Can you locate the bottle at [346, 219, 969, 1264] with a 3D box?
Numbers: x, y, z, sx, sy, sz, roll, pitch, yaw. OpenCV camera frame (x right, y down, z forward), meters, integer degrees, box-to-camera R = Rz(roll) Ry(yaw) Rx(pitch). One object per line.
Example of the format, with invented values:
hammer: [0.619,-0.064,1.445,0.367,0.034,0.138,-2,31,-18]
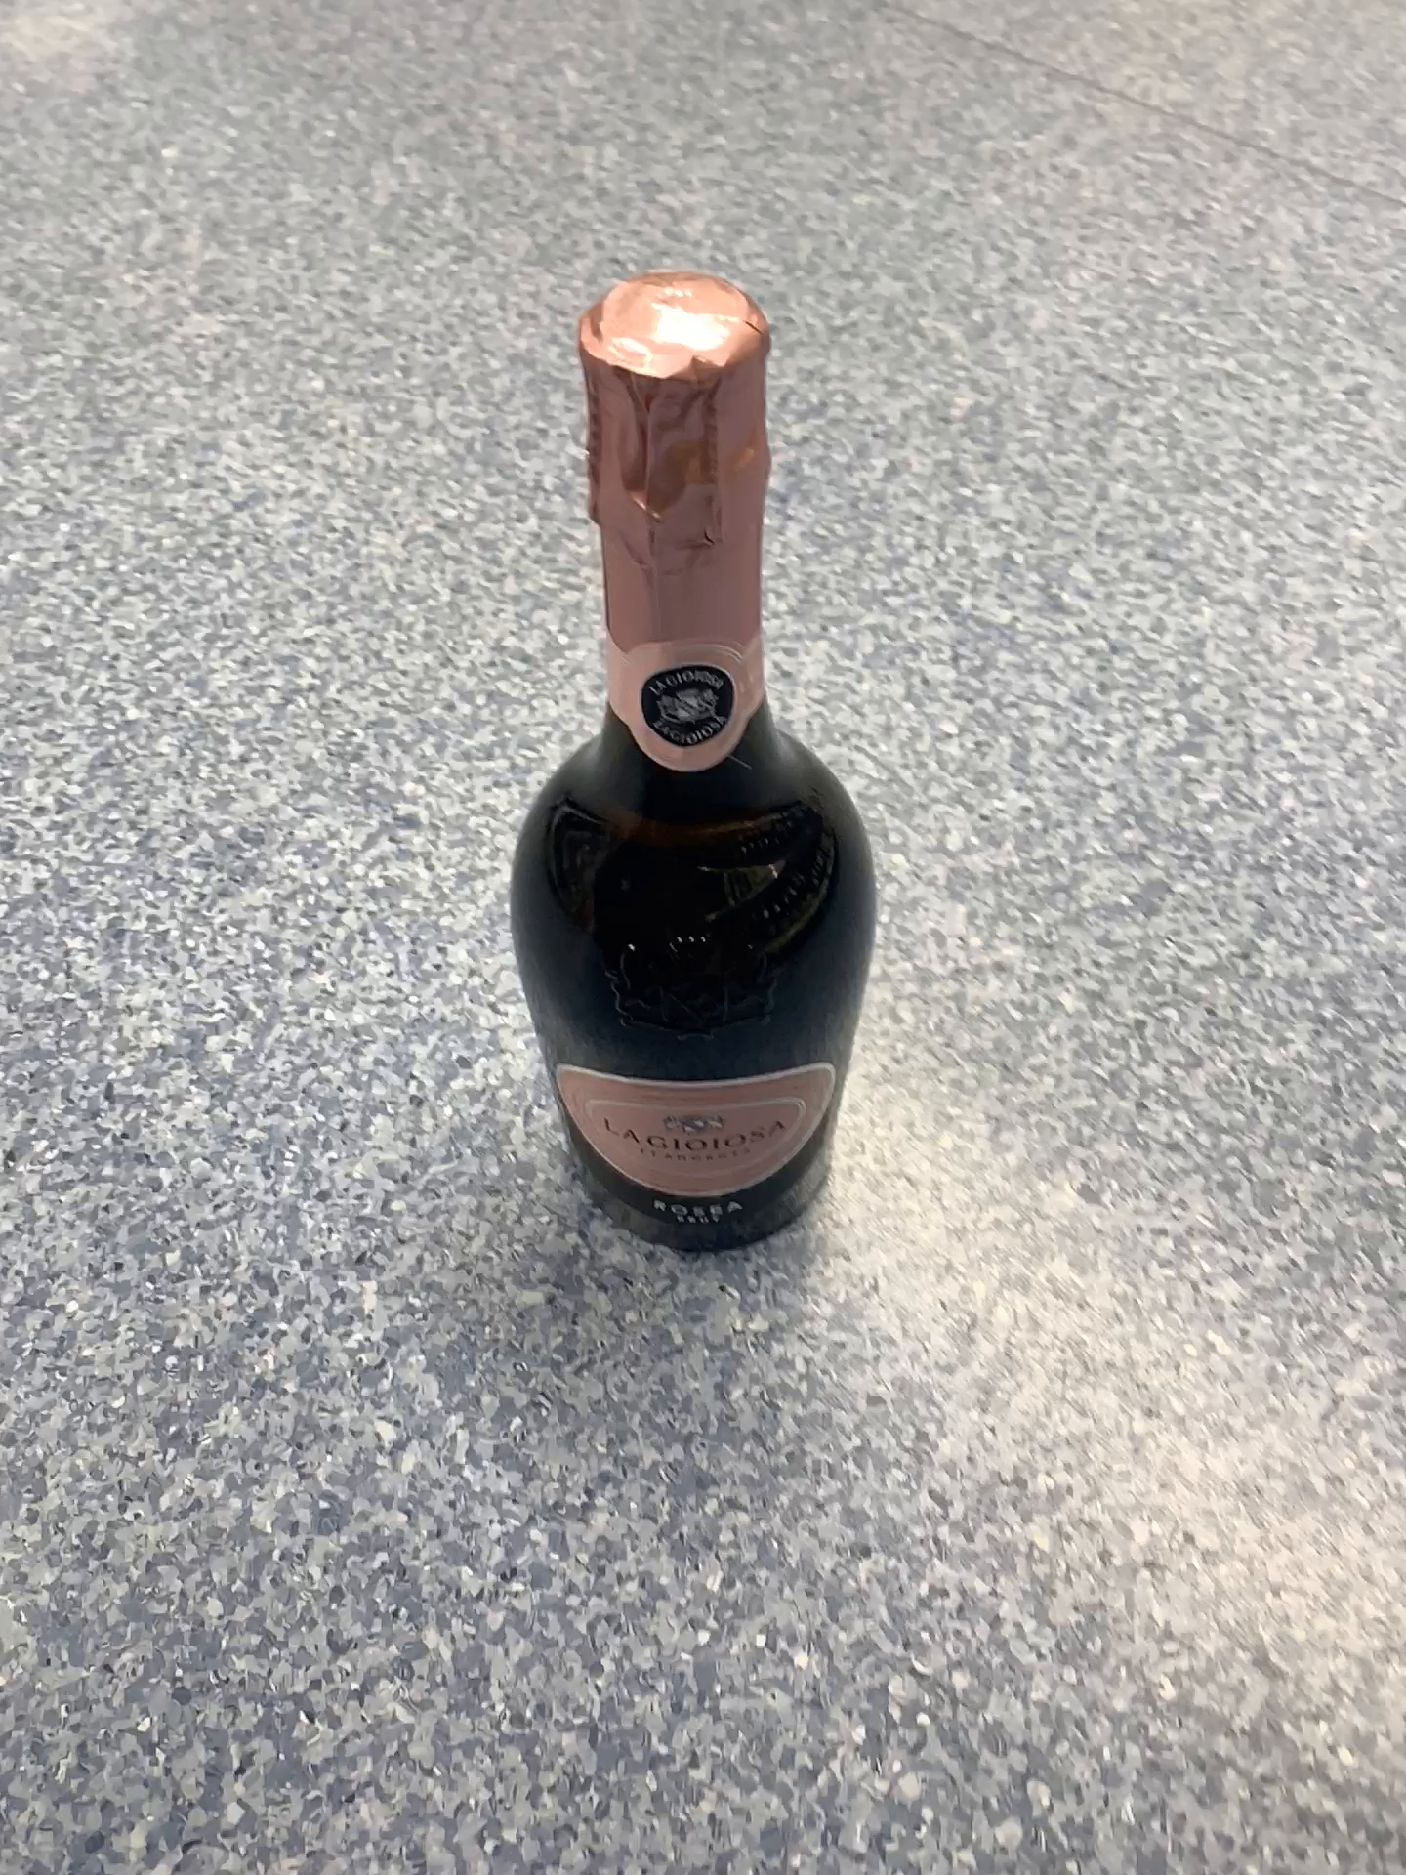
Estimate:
bottle: [-0.004,-0.017,0.347,0.094,0.269,0.079,0,52,1]
